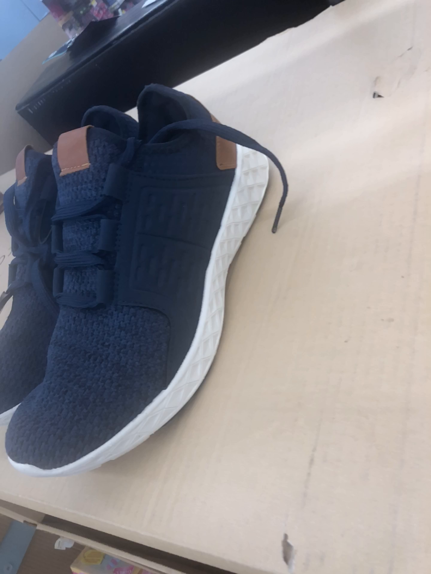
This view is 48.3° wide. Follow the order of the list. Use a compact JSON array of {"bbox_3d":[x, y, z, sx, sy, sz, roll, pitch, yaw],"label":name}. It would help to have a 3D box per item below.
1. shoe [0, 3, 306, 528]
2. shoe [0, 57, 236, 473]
[{"bbox_3d":[-0.055,-0.029,0.310,0.111,0.119,0.290,-5,50,40],"label":"shoe"},{"bbox_3d":[-0.120,-0.028,0.393,0.111,0.129,0.290,3,55,45],"label":"shoe"}]
